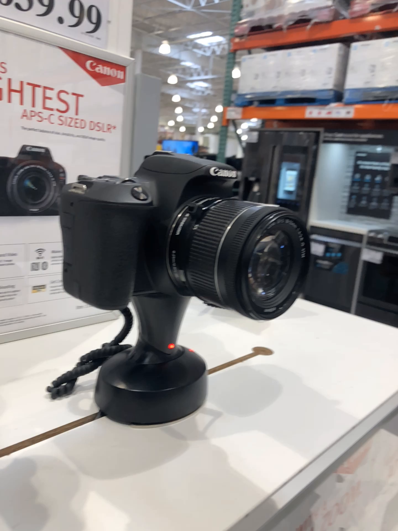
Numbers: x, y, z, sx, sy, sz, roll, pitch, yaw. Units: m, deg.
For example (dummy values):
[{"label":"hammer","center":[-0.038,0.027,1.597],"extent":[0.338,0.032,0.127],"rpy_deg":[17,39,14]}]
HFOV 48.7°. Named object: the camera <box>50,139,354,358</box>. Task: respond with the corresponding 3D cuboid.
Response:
[{"label":"camera","center":[0.000,-0.022,0.268],"extent":[0.130,0.090,0.120],"rpy_deg":[-5,16,-43]}]
